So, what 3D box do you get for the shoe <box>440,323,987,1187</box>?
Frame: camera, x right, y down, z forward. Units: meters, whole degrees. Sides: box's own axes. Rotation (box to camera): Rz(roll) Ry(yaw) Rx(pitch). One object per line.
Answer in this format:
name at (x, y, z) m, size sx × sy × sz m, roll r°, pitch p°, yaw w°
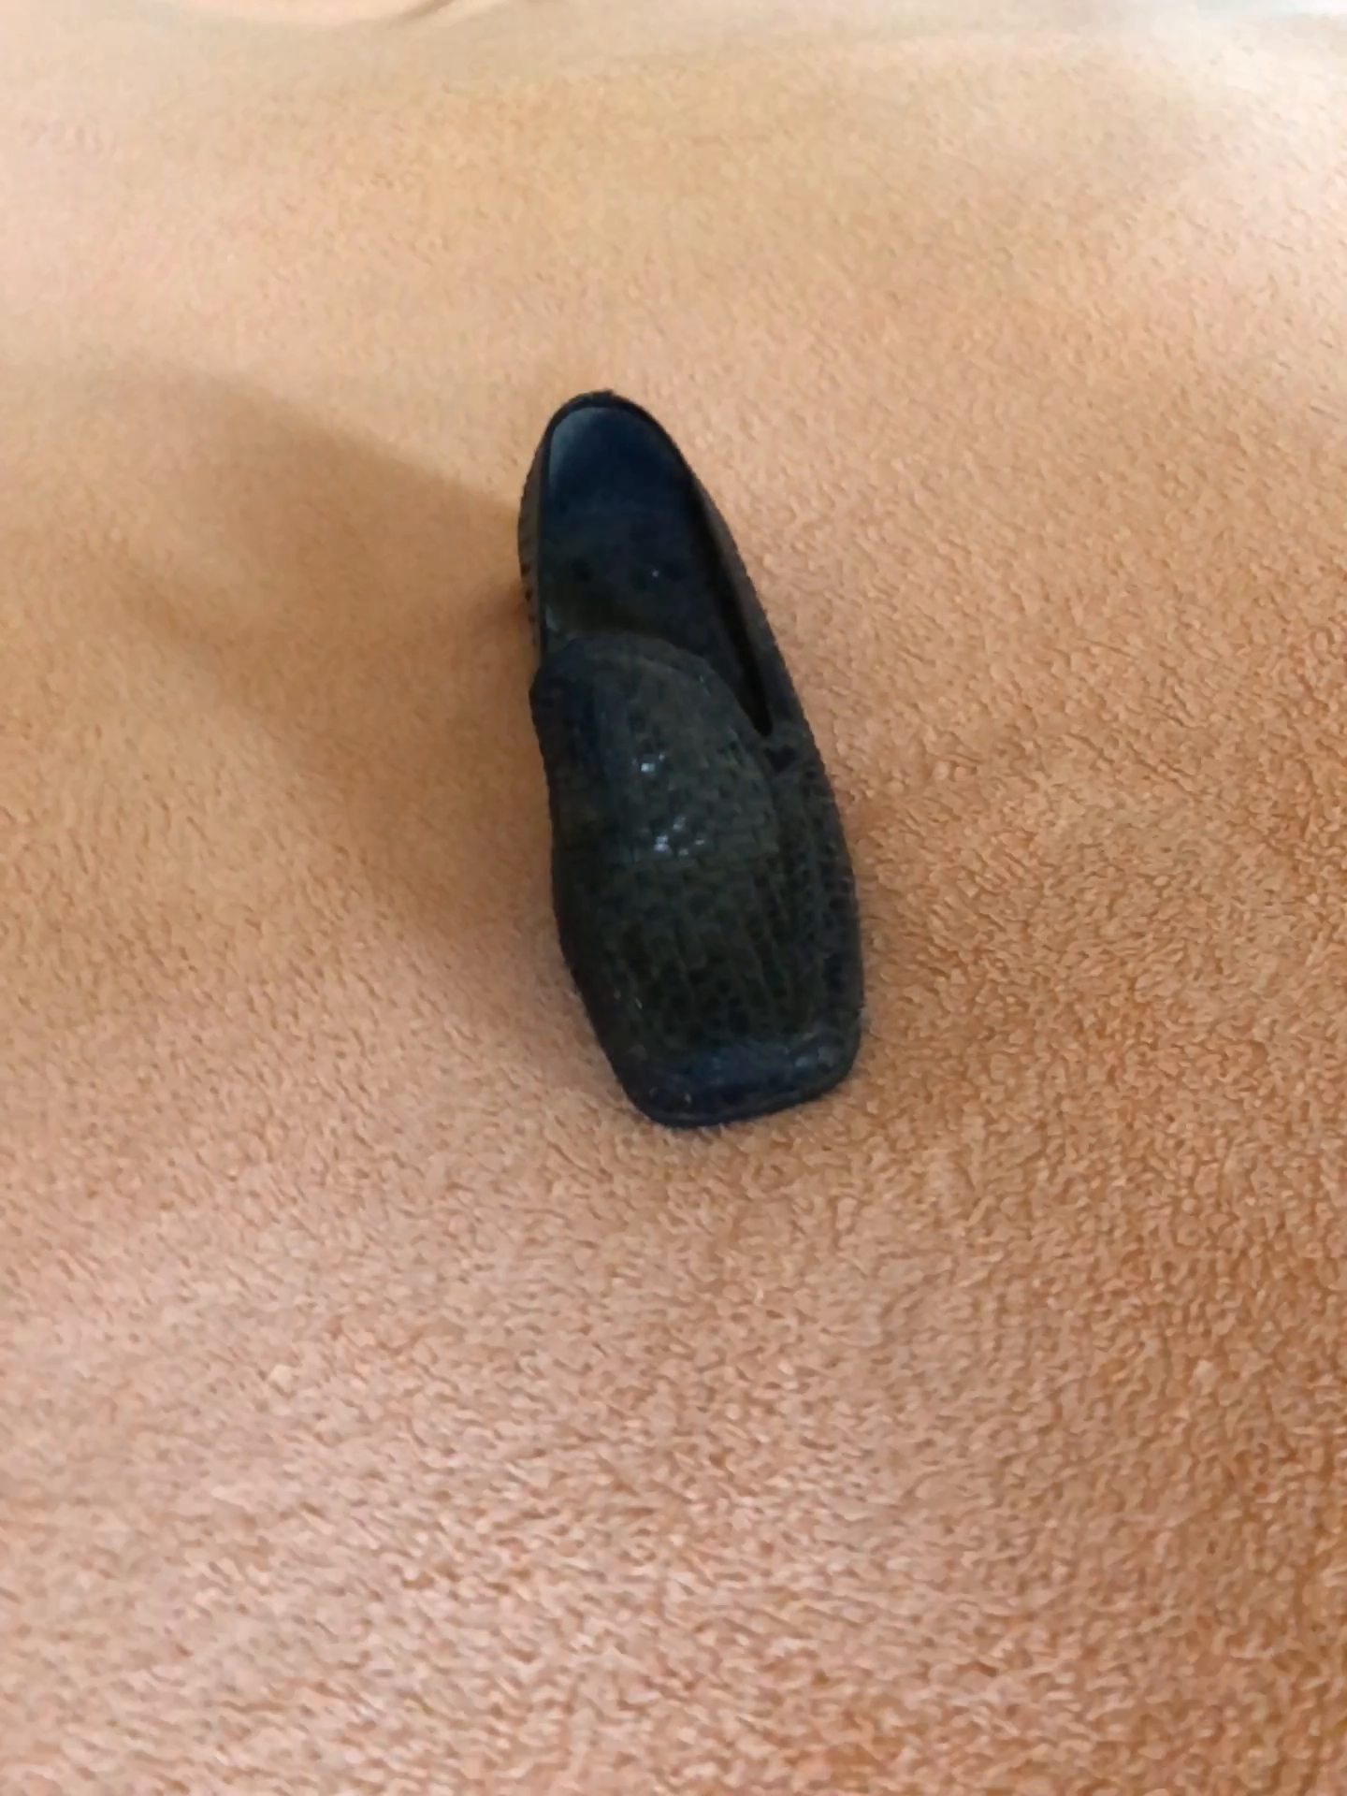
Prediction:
shoe at (-0.001, -0.062, 0.442) m, size 0.100 × 0.090 × 0.271 m, roll -12°, pitch 45°, yaw -3°
